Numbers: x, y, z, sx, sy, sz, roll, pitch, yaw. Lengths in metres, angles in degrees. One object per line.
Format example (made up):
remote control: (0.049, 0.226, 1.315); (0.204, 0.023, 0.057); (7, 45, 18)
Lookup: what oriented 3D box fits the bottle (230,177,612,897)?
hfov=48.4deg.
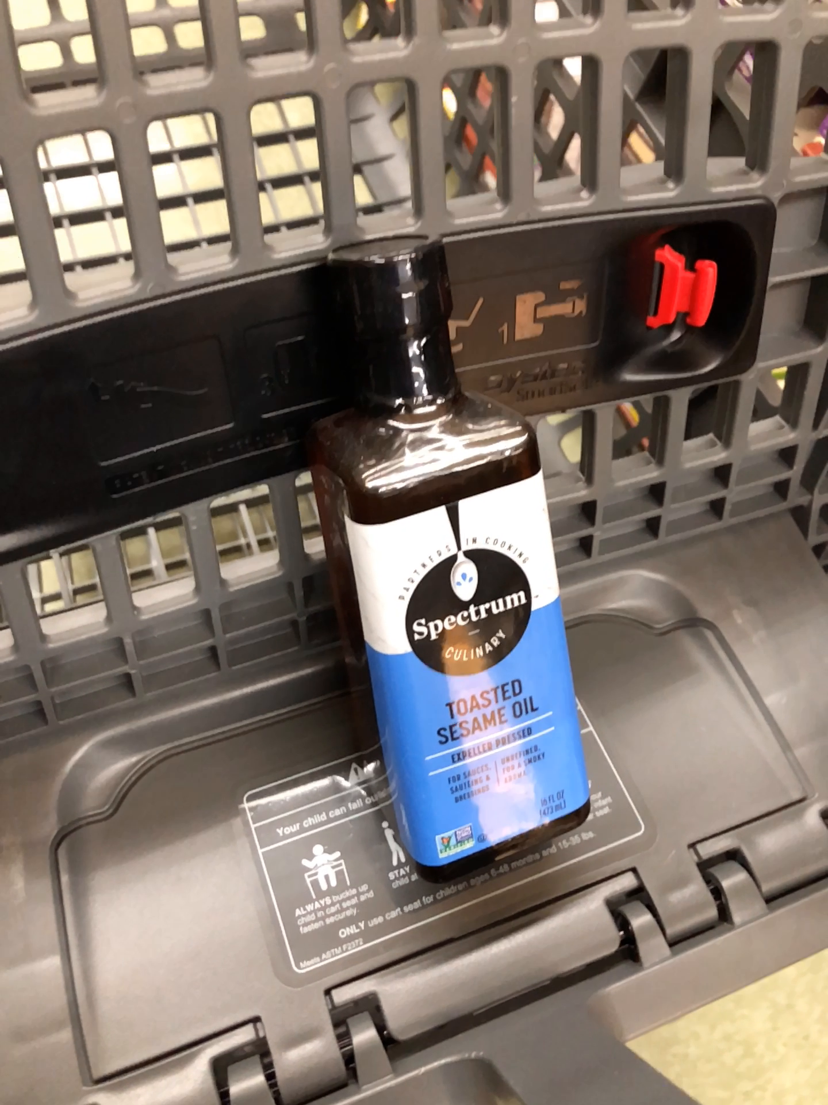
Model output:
bottle: (0.008, -0.001, 0.281); (0.070, 0.200, 0.060); (-18, 28, -15)
